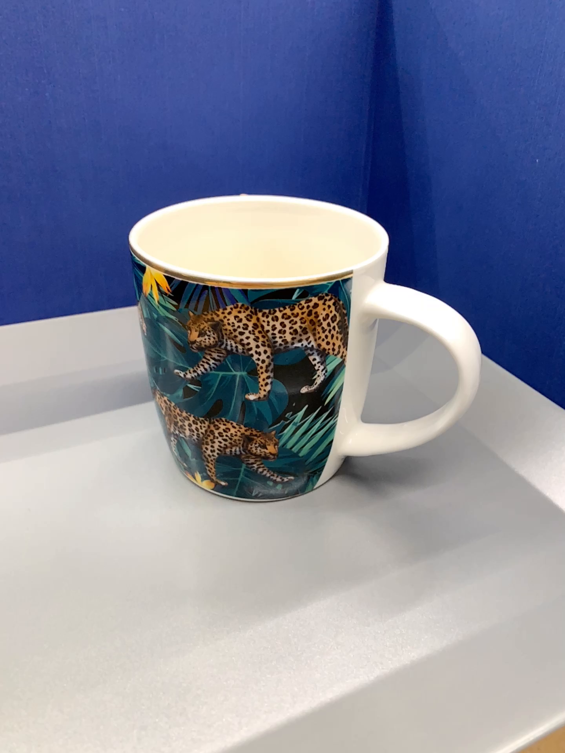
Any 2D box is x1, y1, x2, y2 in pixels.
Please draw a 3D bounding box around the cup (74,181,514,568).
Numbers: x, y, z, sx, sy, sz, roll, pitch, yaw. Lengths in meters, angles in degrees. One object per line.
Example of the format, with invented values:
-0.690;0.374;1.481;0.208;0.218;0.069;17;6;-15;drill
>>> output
0.009;-0.013;0.223;0.126;0.091;0.093;12;30;18;cup
